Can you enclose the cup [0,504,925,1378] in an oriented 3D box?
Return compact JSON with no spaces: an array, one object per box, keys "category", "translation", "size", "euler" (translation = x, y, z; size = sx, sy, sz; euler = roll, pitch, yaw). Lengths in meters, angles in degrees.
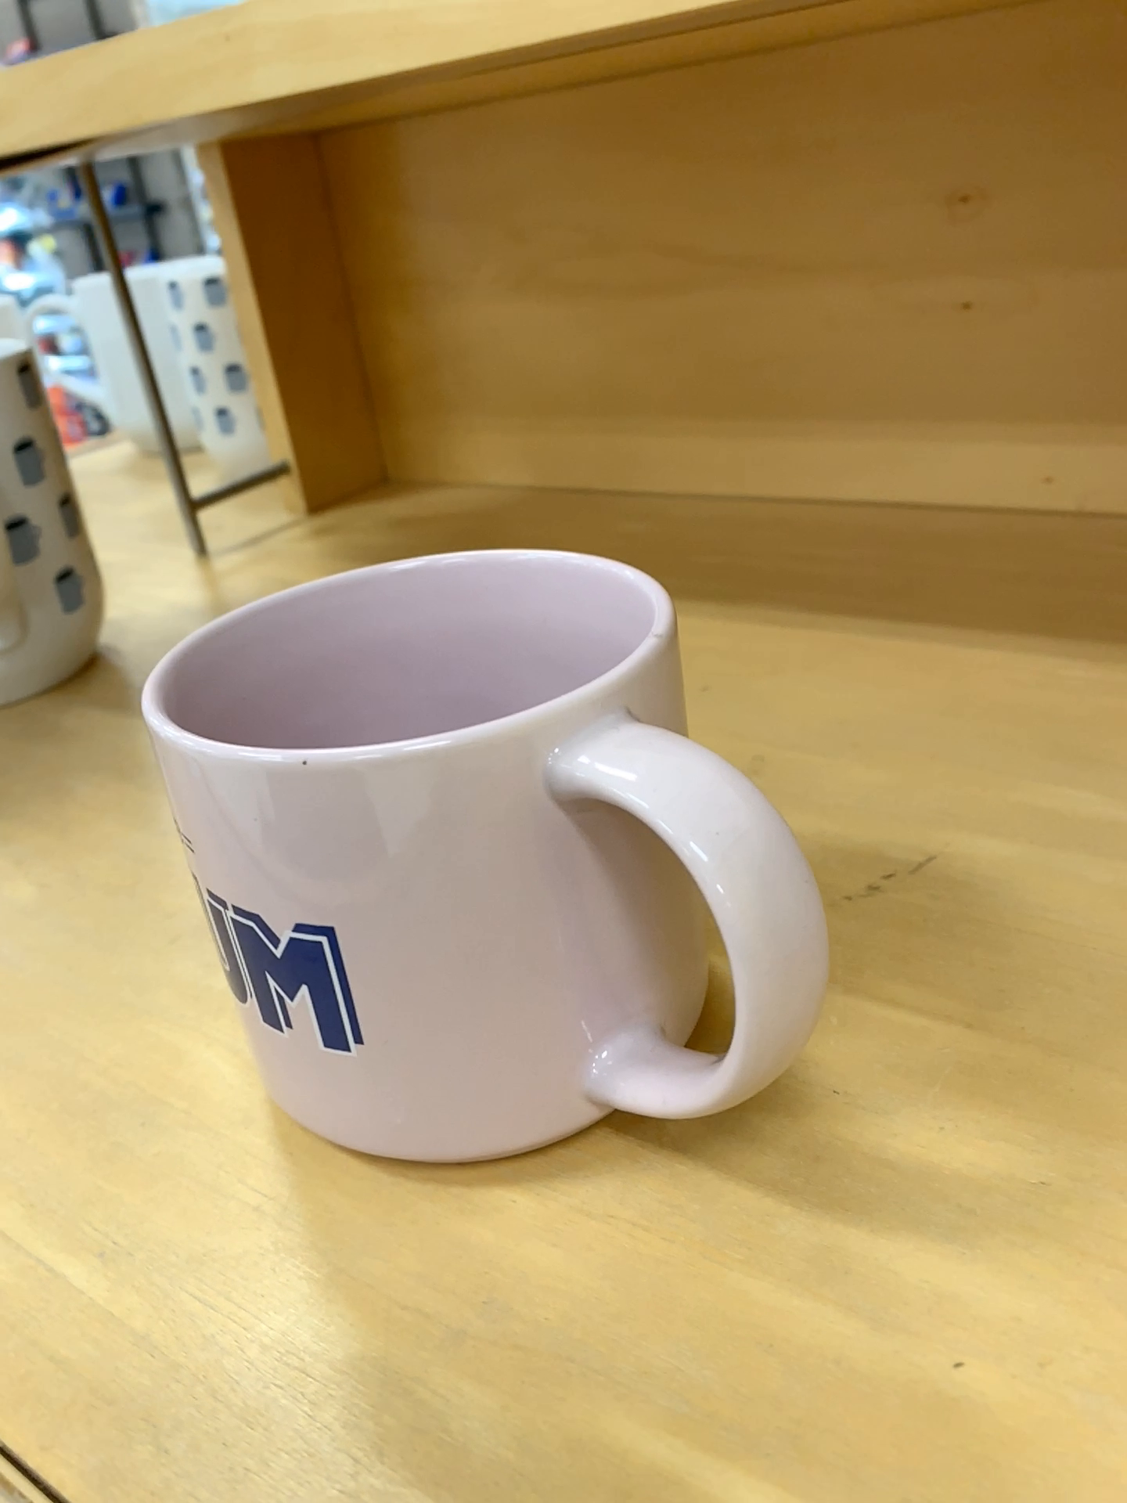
[{"category":"cup","translation":[-0.022,0.014,0.214],"size":[0.142,0.082,0.096],"euler":[13,34,37]}]
